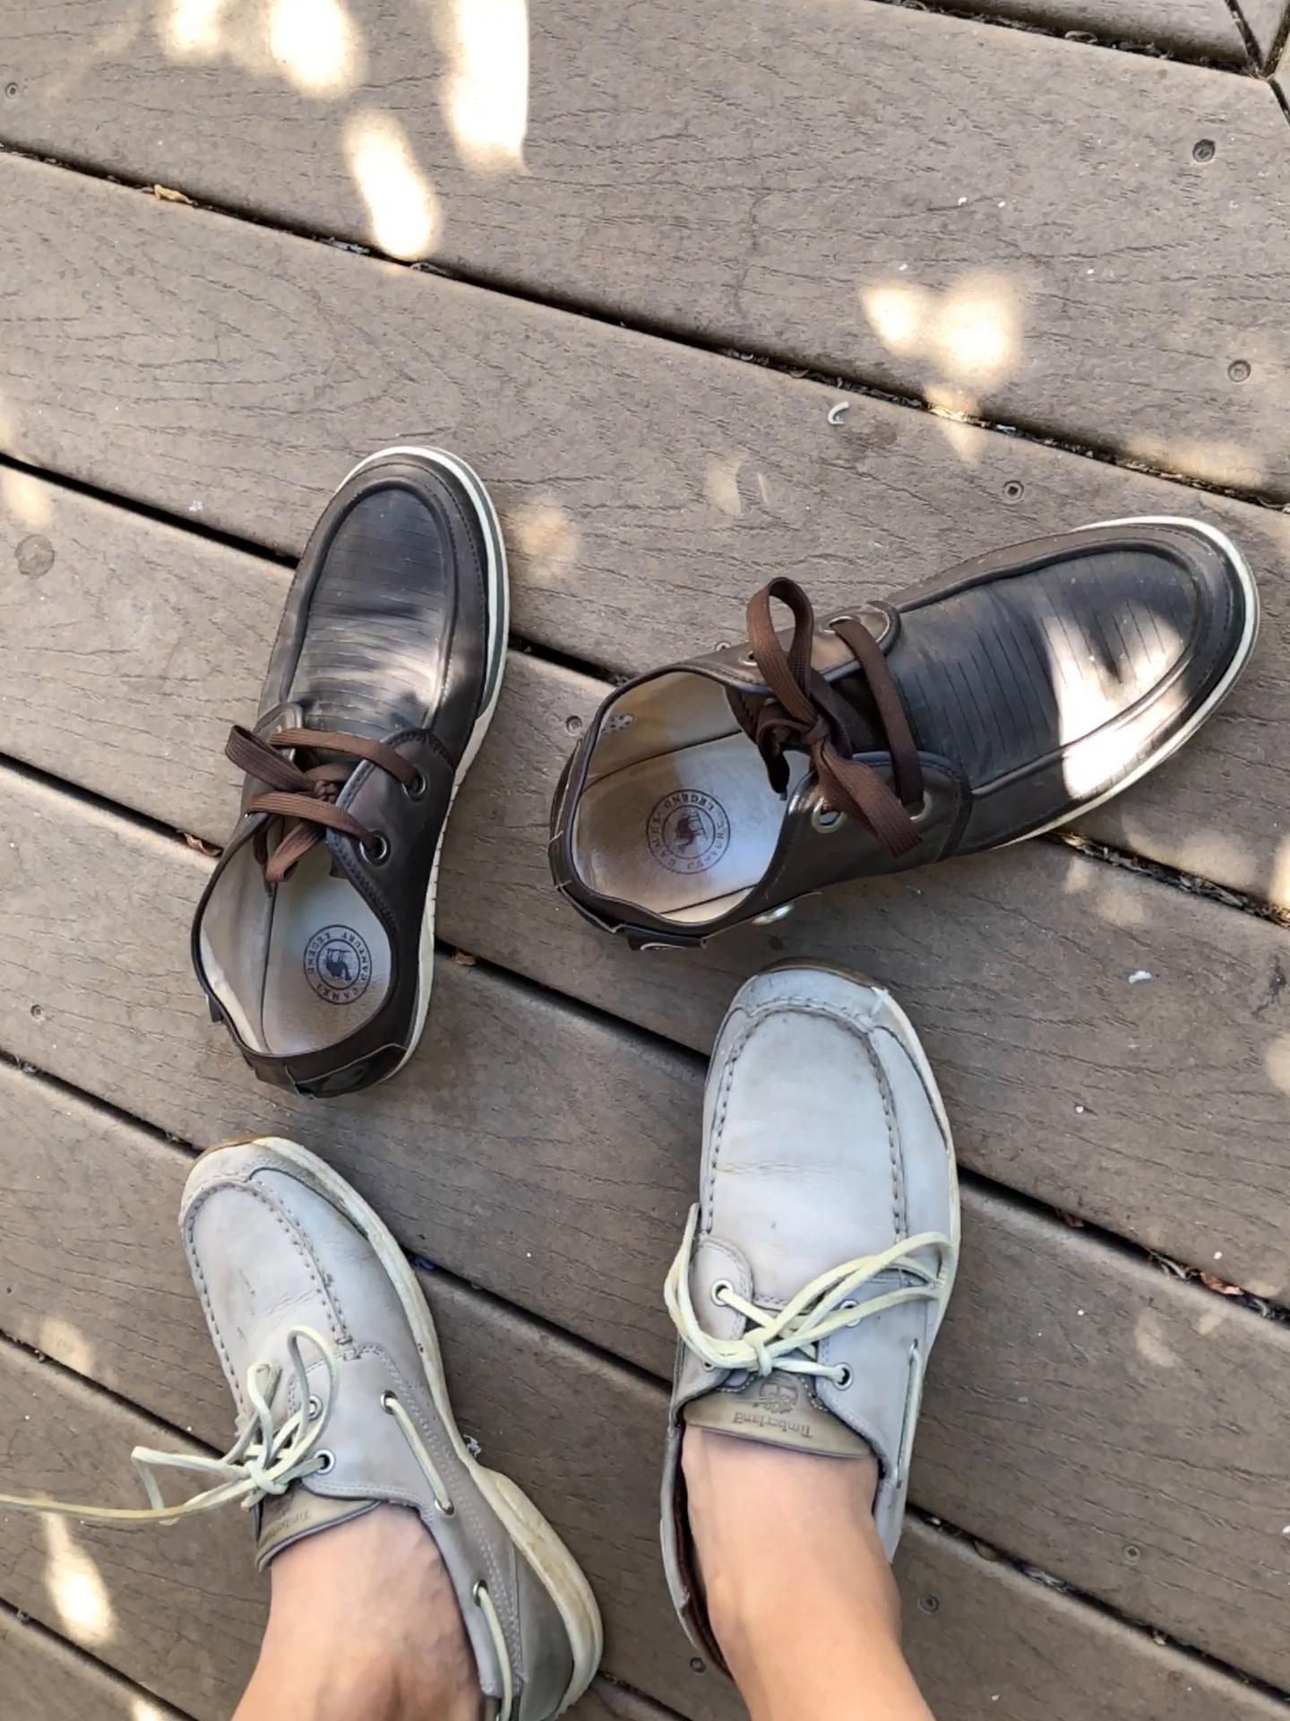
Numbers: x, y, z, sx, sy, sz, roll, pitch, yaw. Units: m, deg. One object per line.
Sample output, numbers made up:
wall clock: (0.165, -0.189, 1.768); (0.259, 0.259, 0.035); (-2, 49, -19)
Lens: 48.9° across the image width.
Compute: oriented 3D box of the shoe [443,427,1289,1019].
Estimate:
shoe: (0.080, -0.040, 0.506); (0.277, 0.079, 0.109); (-19, 89, 19)

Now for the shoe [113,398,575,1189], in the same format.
shoe: (-0.122, -0.026, 0.566); (0.109, 0.069, 0.279); (17, 102, 15)

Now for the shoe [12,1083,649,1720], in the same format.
shoe: (-0.128, 0.255, 0.592); (0.109, 0.086, 0.292); (-31, 86, 17)

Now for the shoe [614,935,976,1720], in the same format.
shoe: (0.058, 0.183, 0.530); (0.109, 0.101, 0.293); (3, 96, 17)
